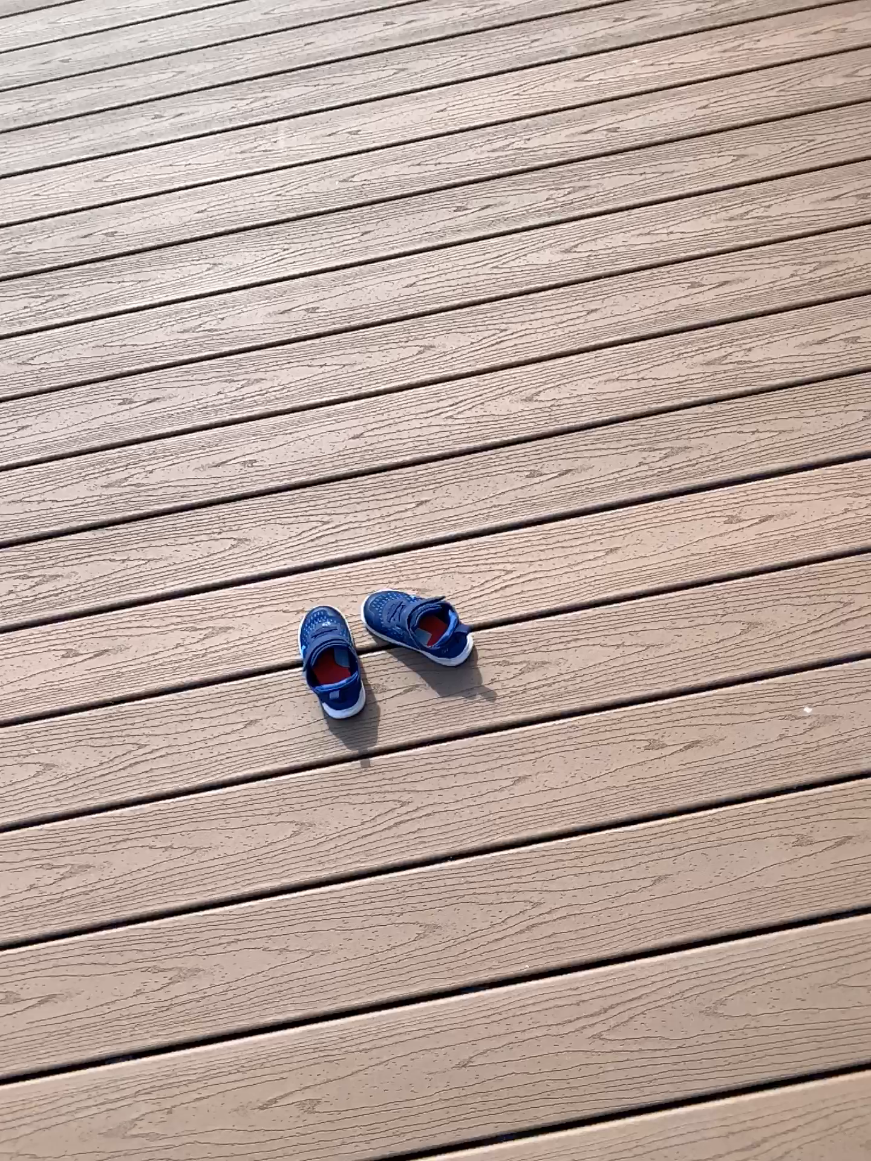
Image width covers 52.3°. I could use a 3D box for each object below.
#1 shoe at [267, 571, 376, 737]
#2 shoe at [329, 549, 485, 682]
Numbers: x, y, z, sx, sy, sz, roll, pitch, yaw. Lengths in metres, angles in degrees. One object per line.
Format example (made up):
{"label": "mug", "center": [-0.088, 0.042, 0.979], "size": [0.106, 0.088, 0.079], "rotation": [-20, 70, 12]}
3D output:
{"label": "shoe", "center": [-0.143, 0.092, 1.115], "size": [0.080, 0.090, 0.170], "rotation": [-19, 61, -2]}
{"label": "shoe", "center": [-0.034, 0.044, 1.134], "size": [0.170, 0.090, 0.080], "rotation": [23, 67, 19]}
